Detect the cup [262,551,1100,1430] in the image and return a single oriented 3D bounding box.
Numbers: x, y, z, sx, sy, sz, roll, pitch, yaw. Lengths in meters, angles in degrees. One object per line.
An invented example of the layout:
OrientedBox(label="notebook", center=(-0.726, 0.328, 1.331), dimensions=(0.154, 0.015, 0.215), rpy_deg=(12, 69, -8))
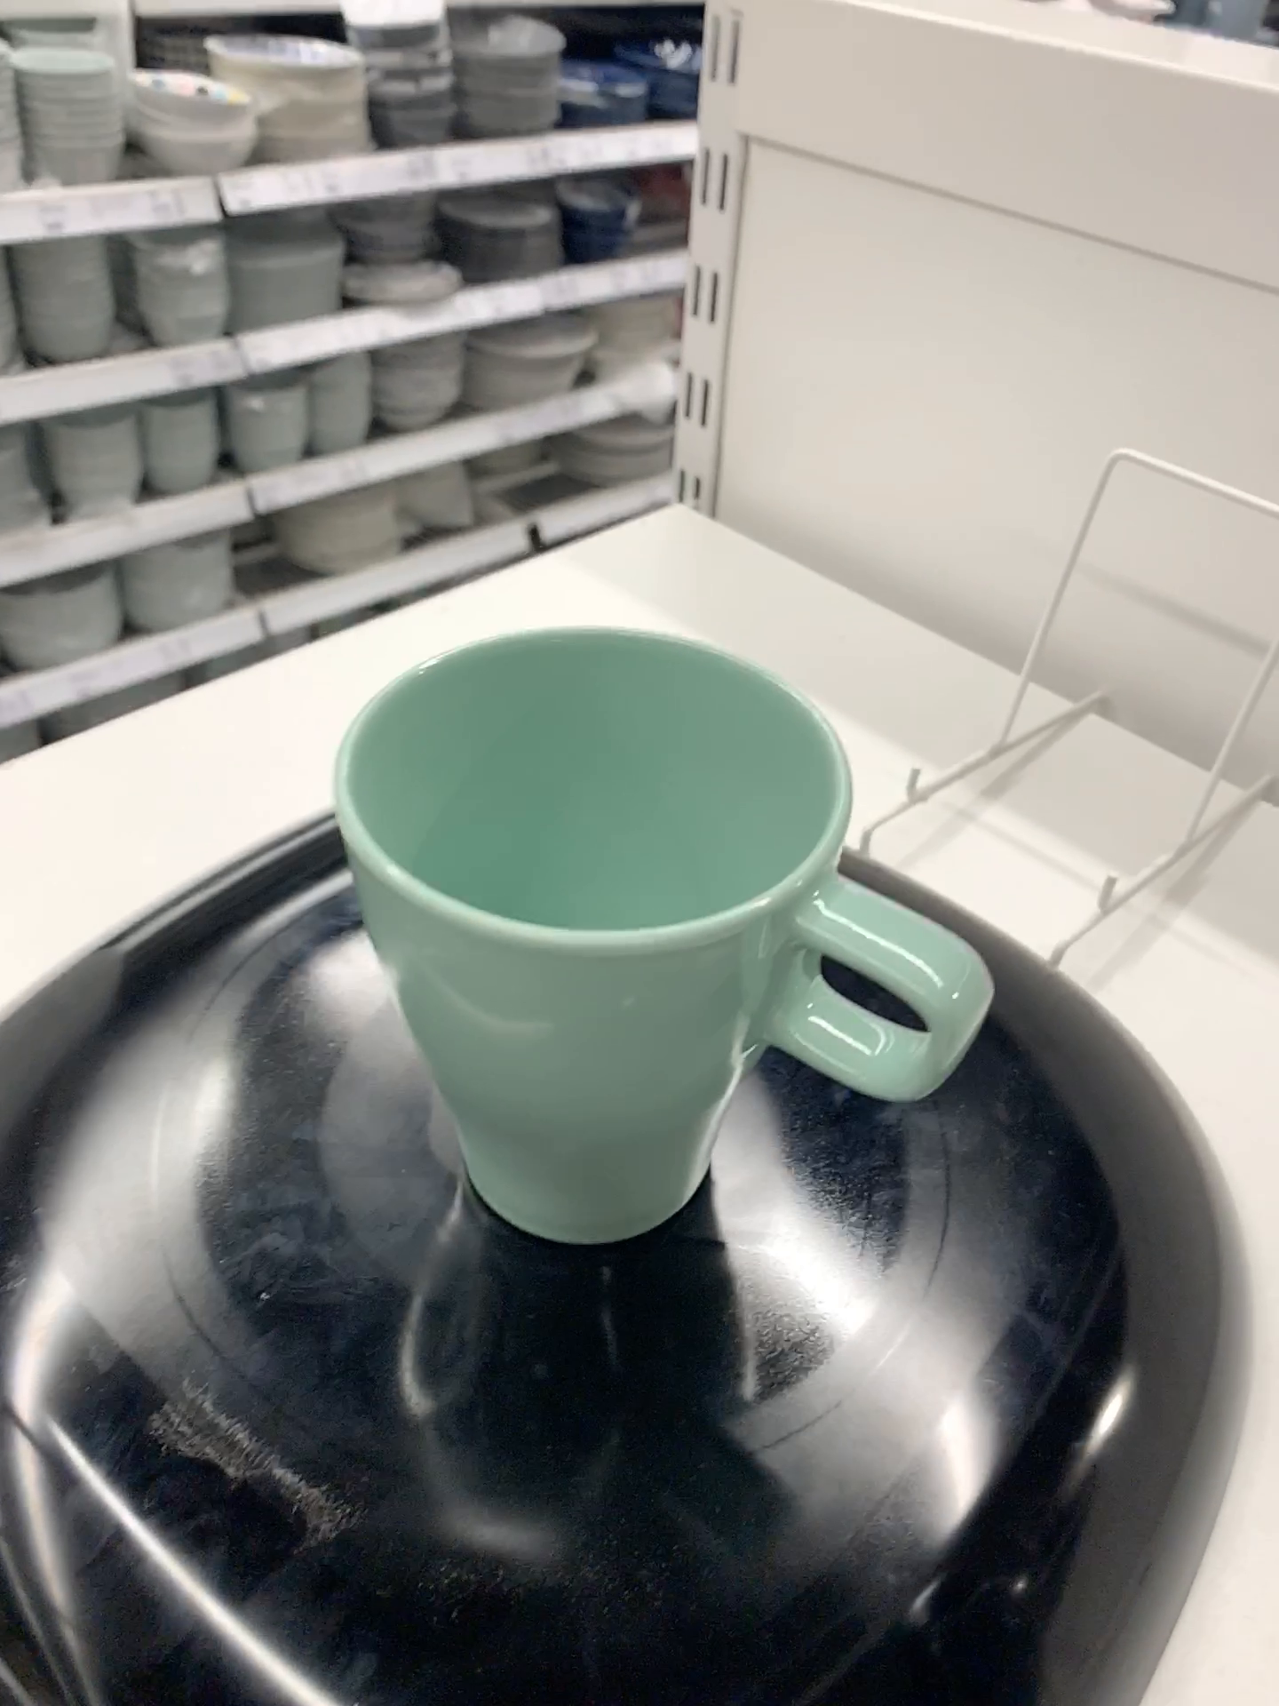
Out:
OrientedBox(label="cup", center=(0.007, 0.020, 0.242), dimensions=(0.110, 0.100, 0.080), rpy_deg=(20, 41, 18))
